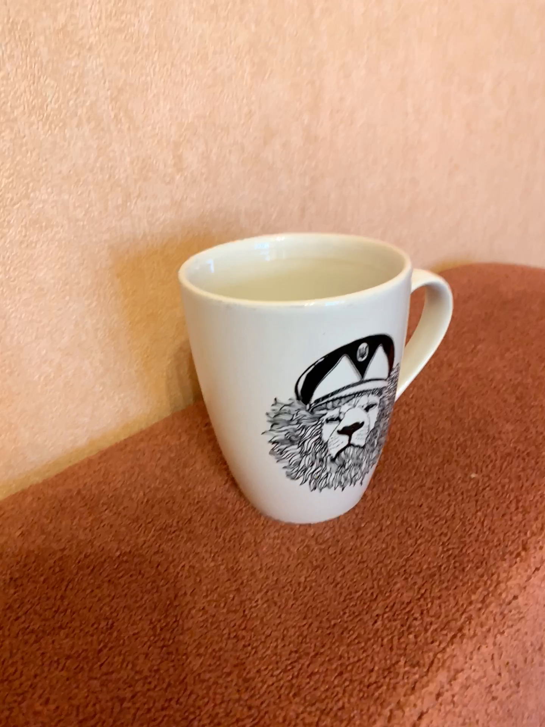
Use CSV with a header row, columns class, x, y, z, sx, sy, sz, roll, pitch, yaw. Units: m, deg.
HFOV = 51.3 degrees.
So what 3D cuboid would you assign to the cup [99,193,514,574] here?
class,x,y,z,sx,sy,sz,roll,pitch,yaw
cup,0.010,-0.006,0.246,0.126,0.095,0.106,-18,33,-24
